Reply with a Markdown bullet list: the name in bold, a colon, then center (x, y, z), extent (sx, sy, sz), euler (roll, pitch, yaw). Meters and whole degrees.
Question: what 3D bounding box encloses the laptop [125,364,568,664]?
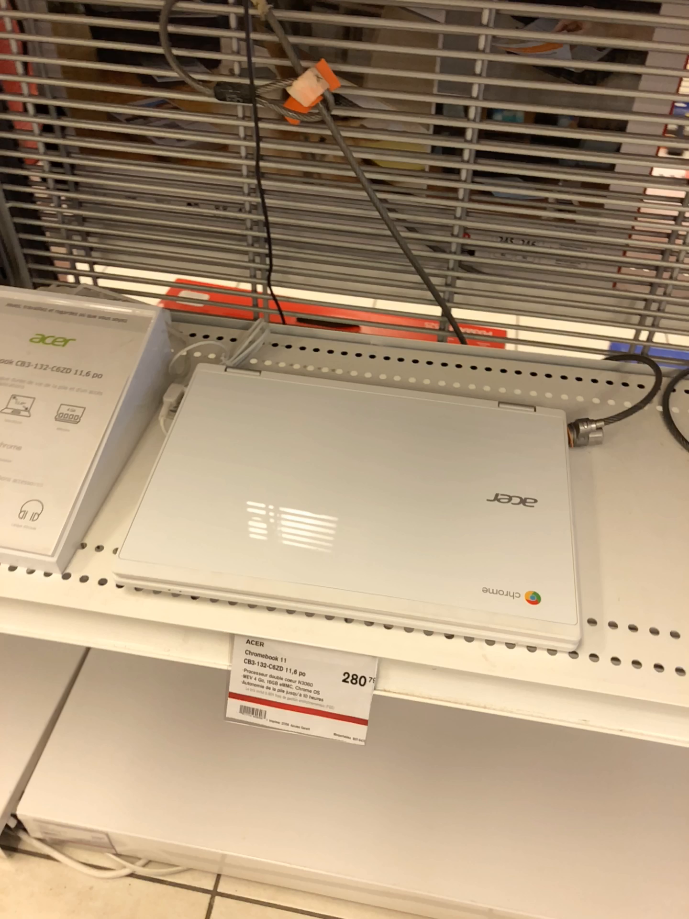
- **laptop**: center (0.009, 0.027, 0.545), extent (0.286, 0.024, 0.184), euler (8, 54, 6)
